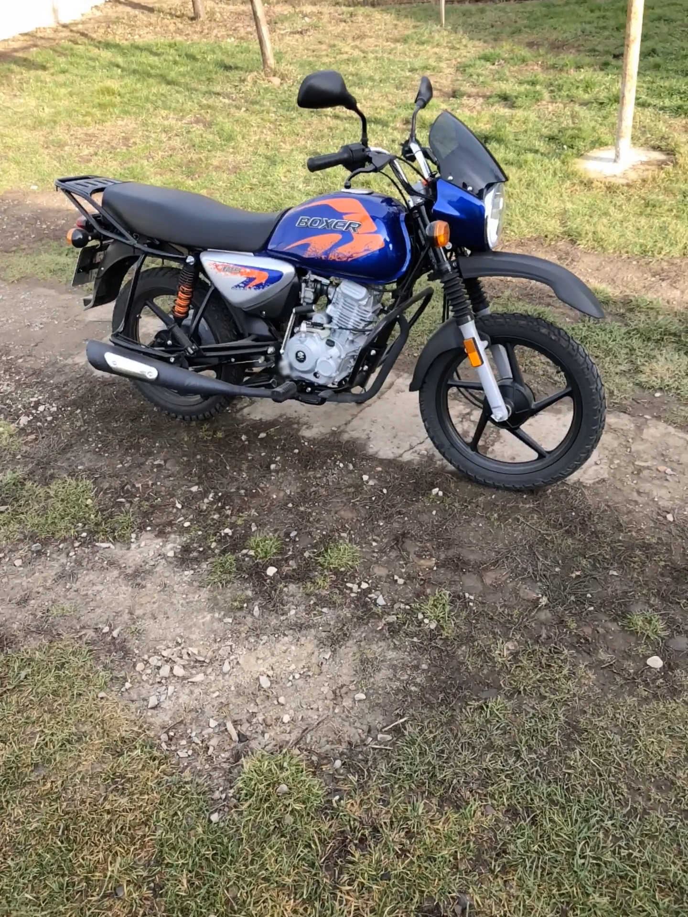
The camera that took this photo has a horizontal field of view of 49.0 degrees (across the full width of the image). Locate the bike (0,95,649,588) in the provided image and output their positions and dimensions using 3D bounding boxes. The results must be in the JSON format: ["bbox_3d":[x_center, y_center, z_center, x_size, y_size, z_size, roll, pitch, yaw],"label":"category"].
[{"bbox_3d":[-0.054,-0.487,2.493,1.779,1.049,0.812,14,43,23],"label":"bike"}]
